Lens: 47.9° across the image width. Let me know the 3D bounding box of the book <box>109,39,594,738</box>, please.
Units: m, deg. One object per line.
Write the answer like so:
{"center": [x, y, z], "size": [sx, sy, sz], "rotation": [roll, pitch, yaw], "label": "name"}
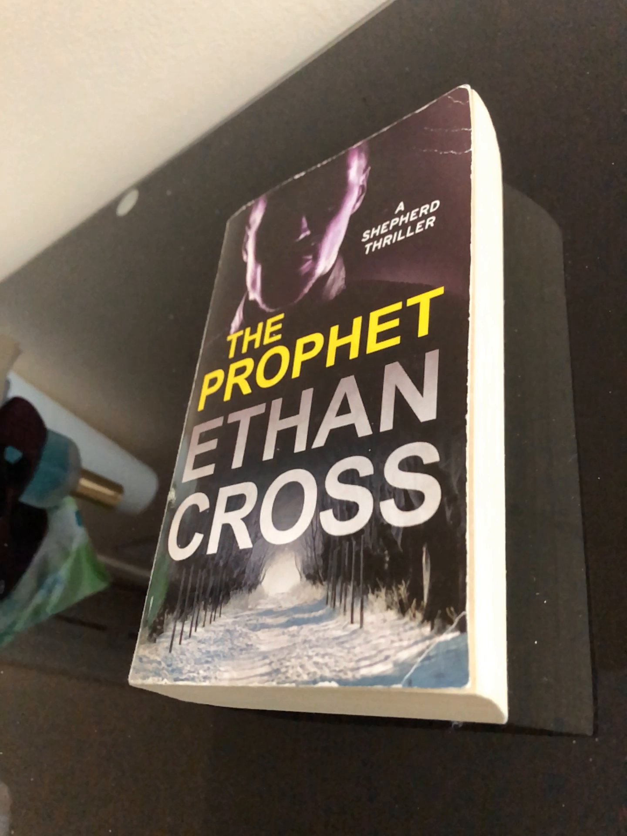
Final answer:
{"center": [0.012, -0.009, 0.210], "size": [0.115, 0.040, 0.180], "rotation": [-15, 56, 37], "label": "book"}
